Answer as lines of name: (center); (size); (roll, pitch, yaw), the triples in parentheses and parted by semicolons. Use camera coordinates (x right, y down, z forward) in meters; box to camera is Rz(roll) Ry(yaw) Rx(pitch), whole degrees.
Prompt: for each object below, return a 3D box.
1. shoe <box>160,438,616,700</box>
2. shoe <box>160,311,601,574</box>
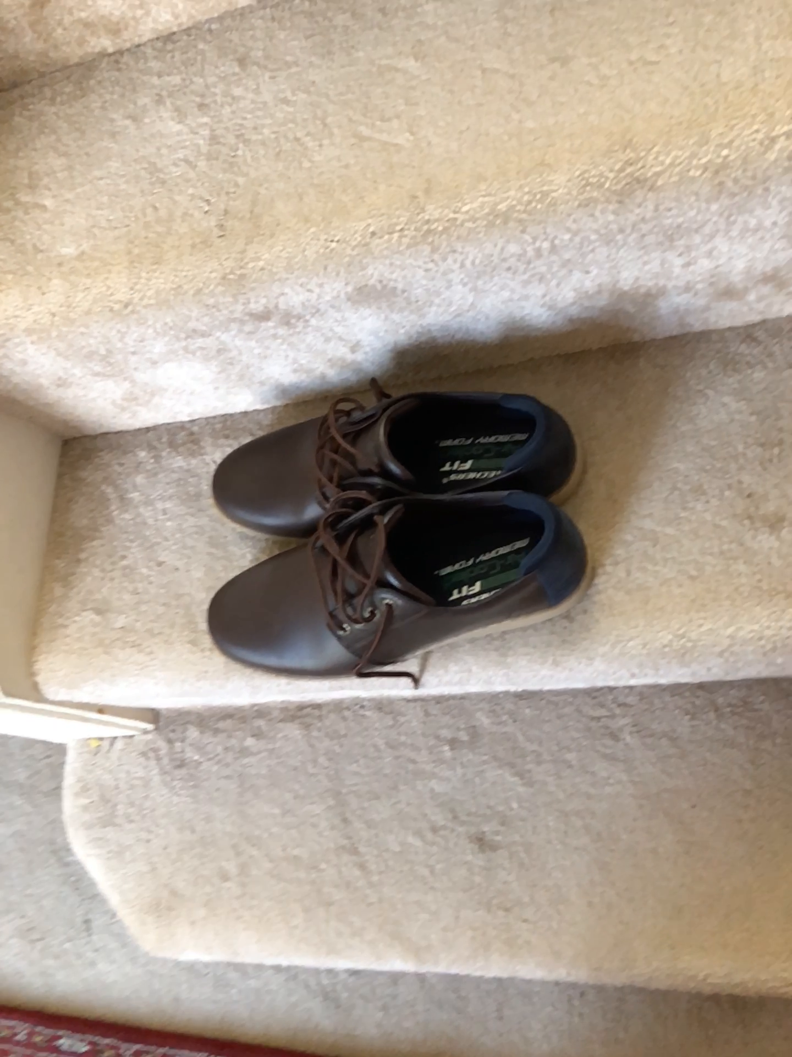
shoe: (-0.012, 0.038, 0.614); (0.300, 0.090, 0.110); (-12, 67, 18)
shoe: (-0.015, -0.052, 0.635); (0.300, 0.090, 0.110); (-9, 68, 19)
